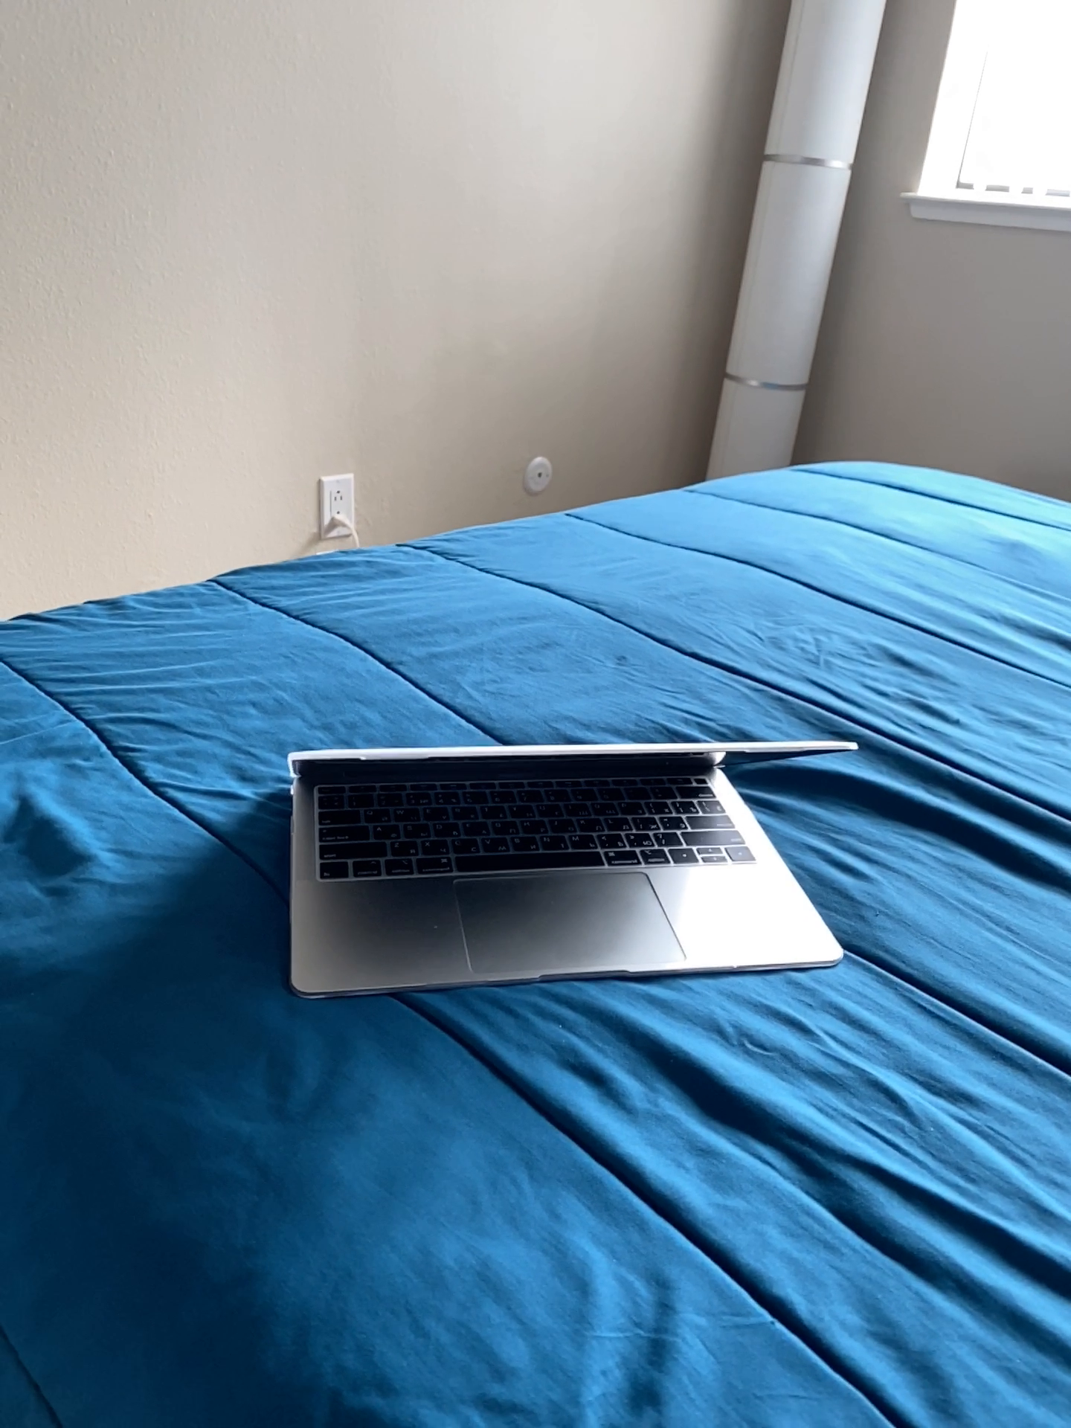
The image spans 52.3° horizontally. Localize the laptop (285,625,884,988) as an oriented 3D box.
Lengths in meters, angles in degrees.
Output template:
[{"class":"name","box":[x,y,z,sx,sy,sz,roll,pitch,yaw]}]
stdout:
[{"class":"laptop","box":[0.008,0.040,0.671,0.310,0.106,0.220,-1,29,-11]}]
